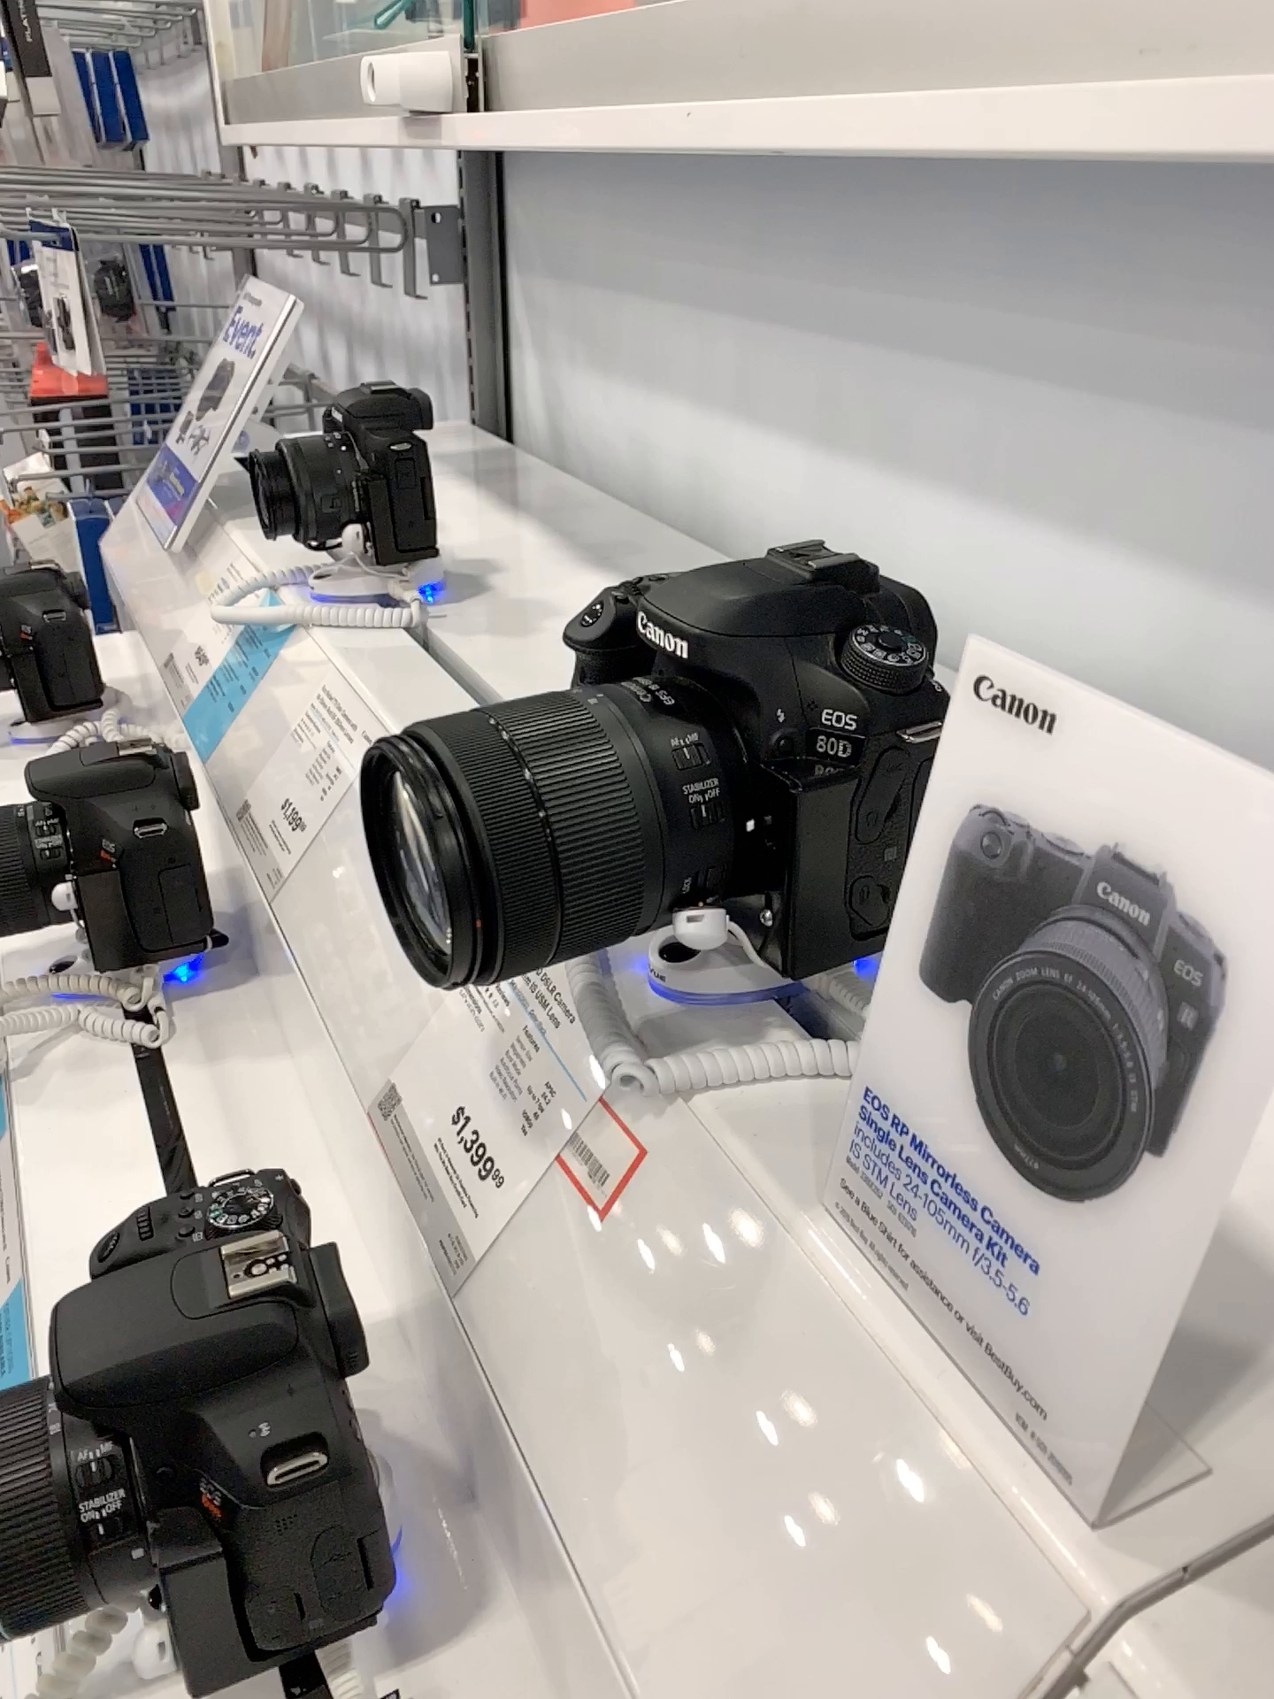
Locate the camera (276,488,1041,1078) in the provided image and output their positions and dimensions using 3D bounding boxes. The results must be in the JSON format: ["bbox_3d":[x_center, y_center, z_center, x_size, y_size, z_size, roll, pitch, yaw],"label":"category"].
[{"bbox_3d":[0.000,-0.037,0.404,0.170,0.099,0.151,-15,31,-26],"label":"camera"}]
